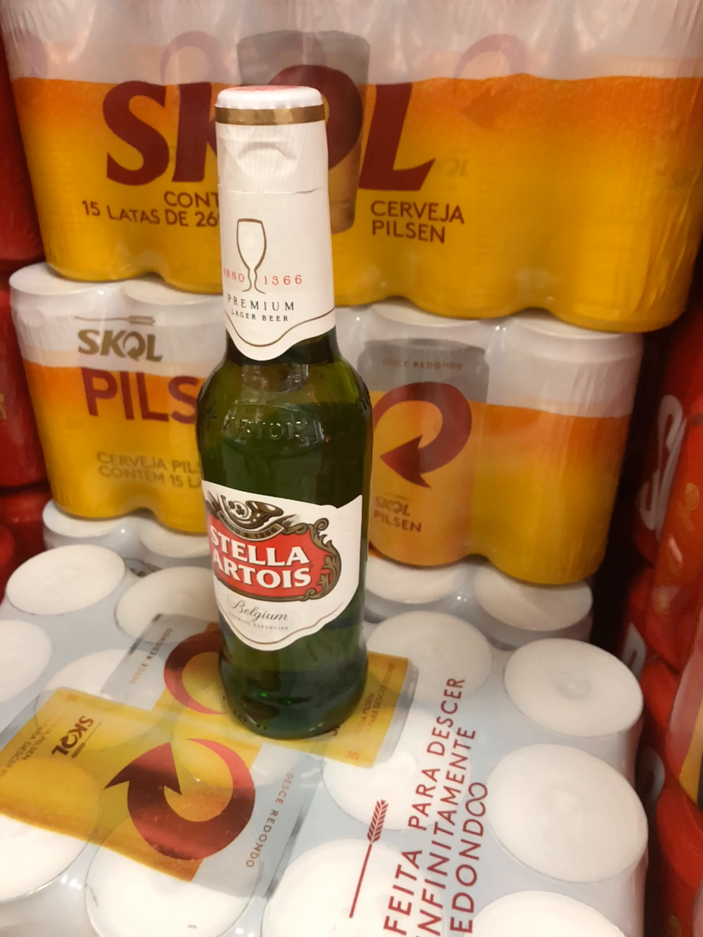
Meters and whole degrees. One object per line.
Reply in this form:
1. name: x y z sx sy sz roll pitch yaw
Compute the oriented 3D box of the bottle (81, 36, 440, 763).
1. bottle: -0.017 -0.010 0.249 0.070 0.218 0.060 8 33 14
